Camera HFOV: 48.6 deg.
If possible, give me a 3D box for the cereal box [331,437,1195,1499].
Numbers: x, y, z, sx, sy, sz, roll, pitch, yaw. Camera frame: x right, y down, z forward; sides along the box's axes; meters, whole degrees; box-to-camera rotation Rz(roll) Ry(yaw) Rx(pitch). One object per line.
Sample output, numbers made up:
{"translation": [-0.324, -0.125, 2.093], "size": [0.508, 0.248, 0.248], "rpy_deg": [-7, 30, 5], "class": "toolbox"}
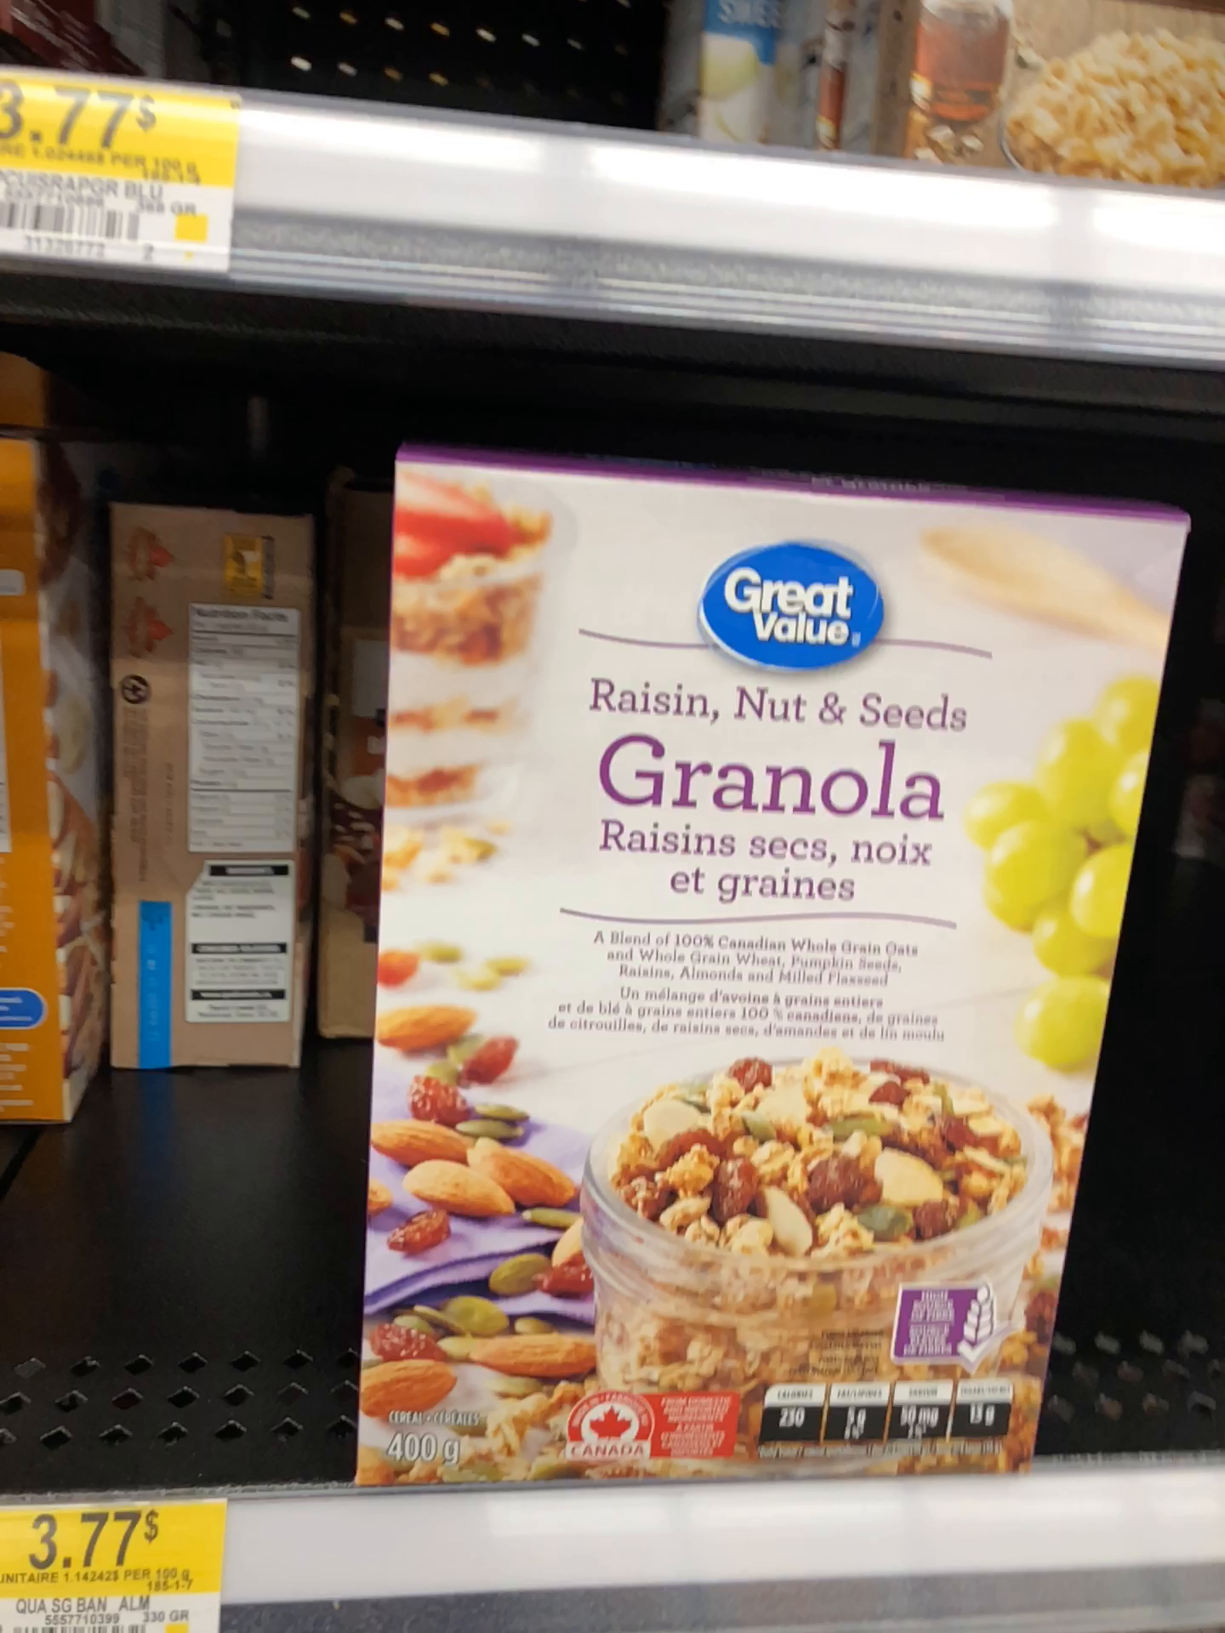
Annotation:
{"translation": [0.023, 0.034, 0.304], "size": [0.160, 0.219, 0.060], "rpy_deg": [2, 13, -7], "class": "cereal box"}
